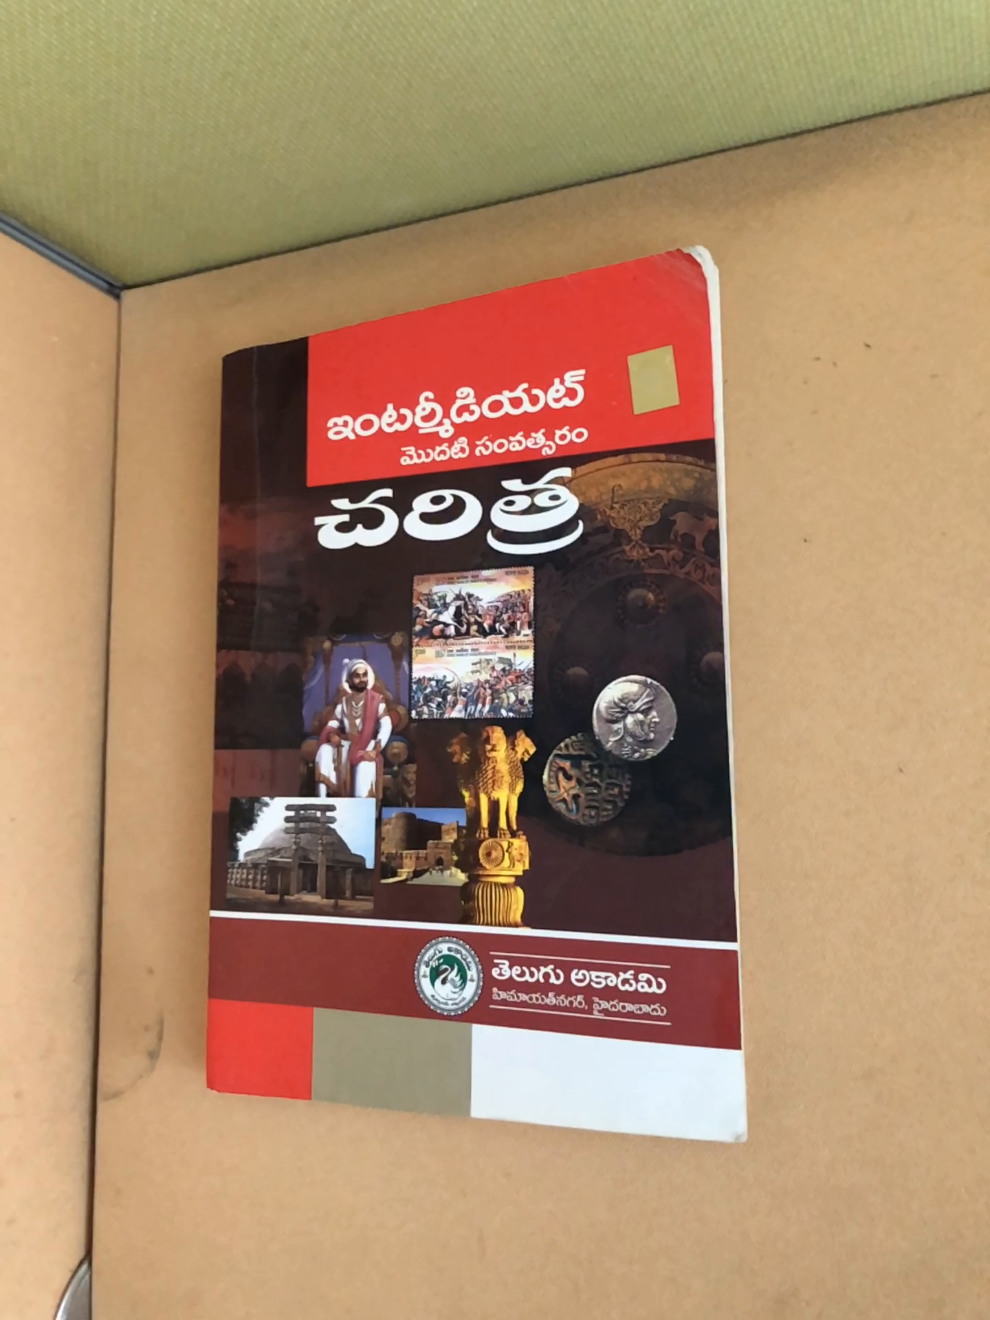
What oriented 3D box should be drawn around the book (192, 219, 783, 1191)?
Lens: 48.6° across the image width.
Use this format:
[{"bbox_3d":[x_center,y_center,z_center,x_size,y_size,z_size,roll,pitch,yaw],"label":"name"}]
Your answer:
[{"bbox_3d":[-0.011,0.013,0.380,0.200,0.030,0.290,-4,82,24],"label":"book"}]
